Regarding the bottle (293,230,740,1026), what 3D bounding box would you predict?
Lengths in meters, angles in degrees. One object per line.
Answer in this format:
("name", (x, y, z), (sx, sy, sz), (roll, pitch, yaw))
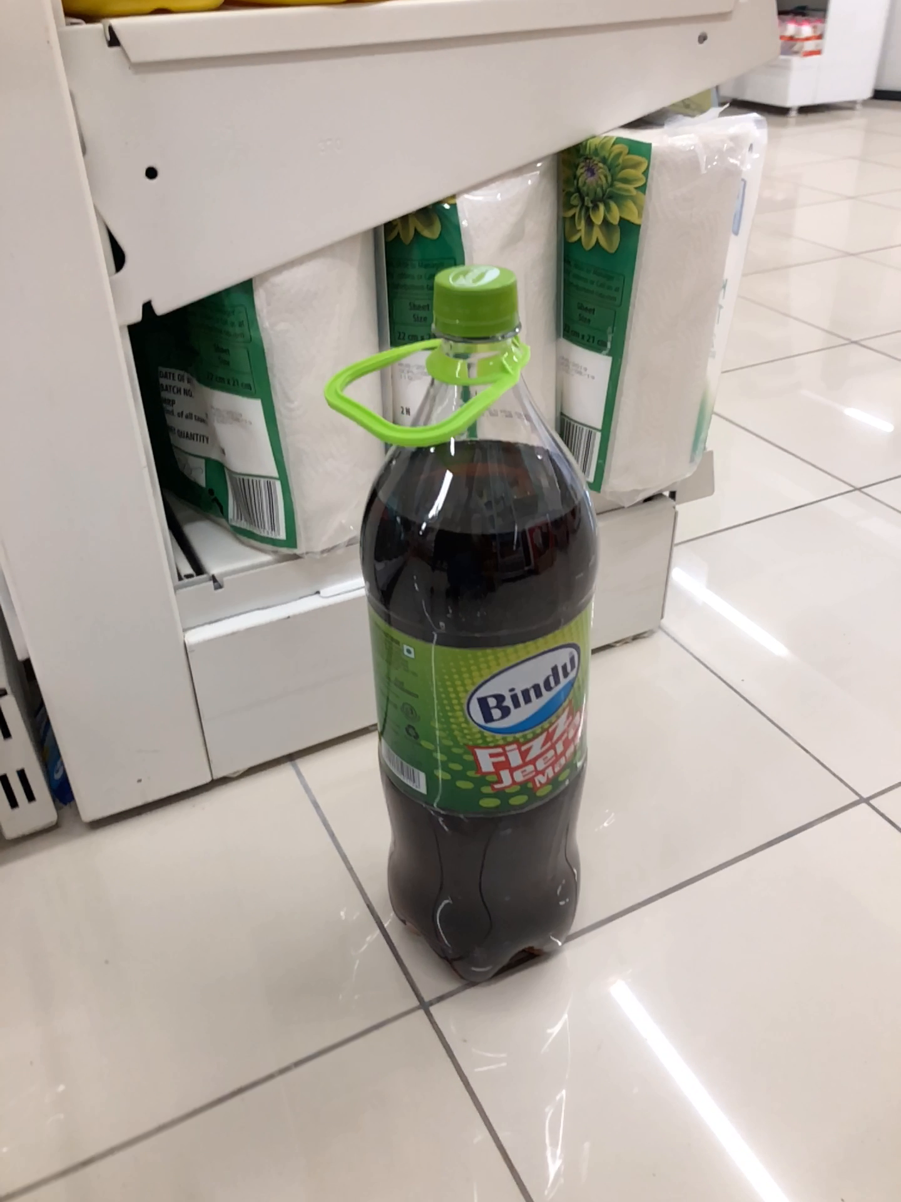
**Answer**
("bottle", (0.023, 0.020, 0.410), (0.110, 0.298, 0.100), (-19, 37, -25))
